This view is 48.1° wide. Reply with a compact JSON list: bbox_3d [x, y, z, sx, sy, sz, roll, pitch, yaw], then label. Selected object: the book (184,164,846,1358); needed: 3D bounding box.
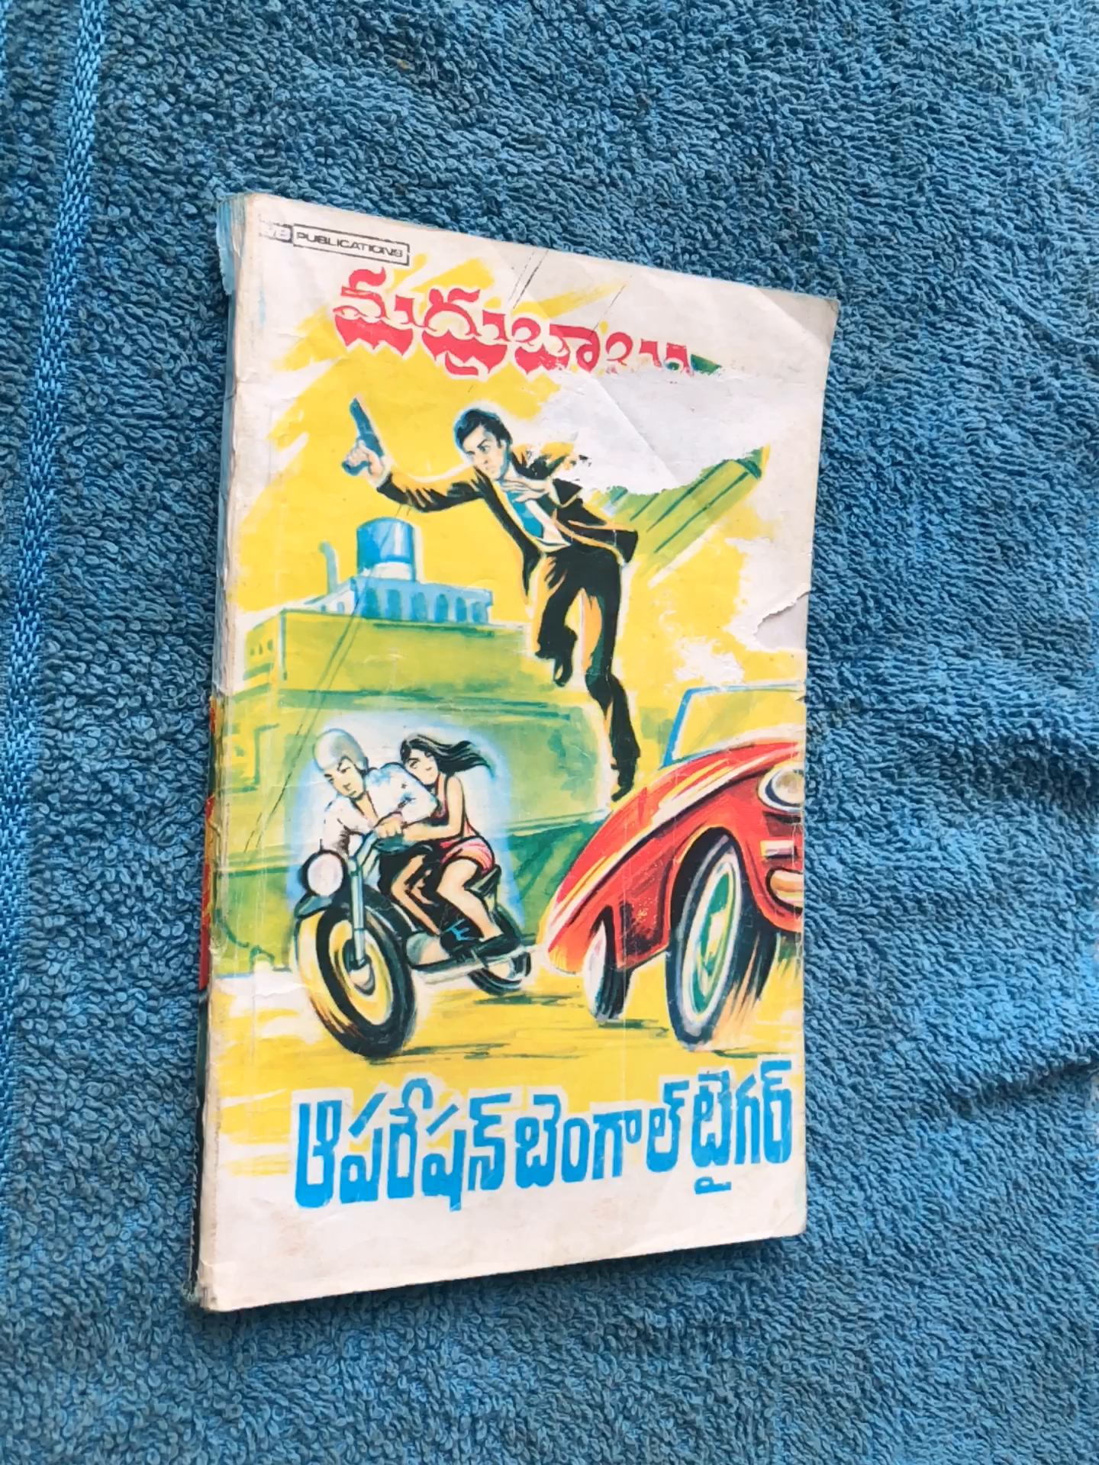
[{"bbox_3d":[-0.001,0.004,0.194,0.100,0.020,0.160,3,85,-23],"label":"book"}]
